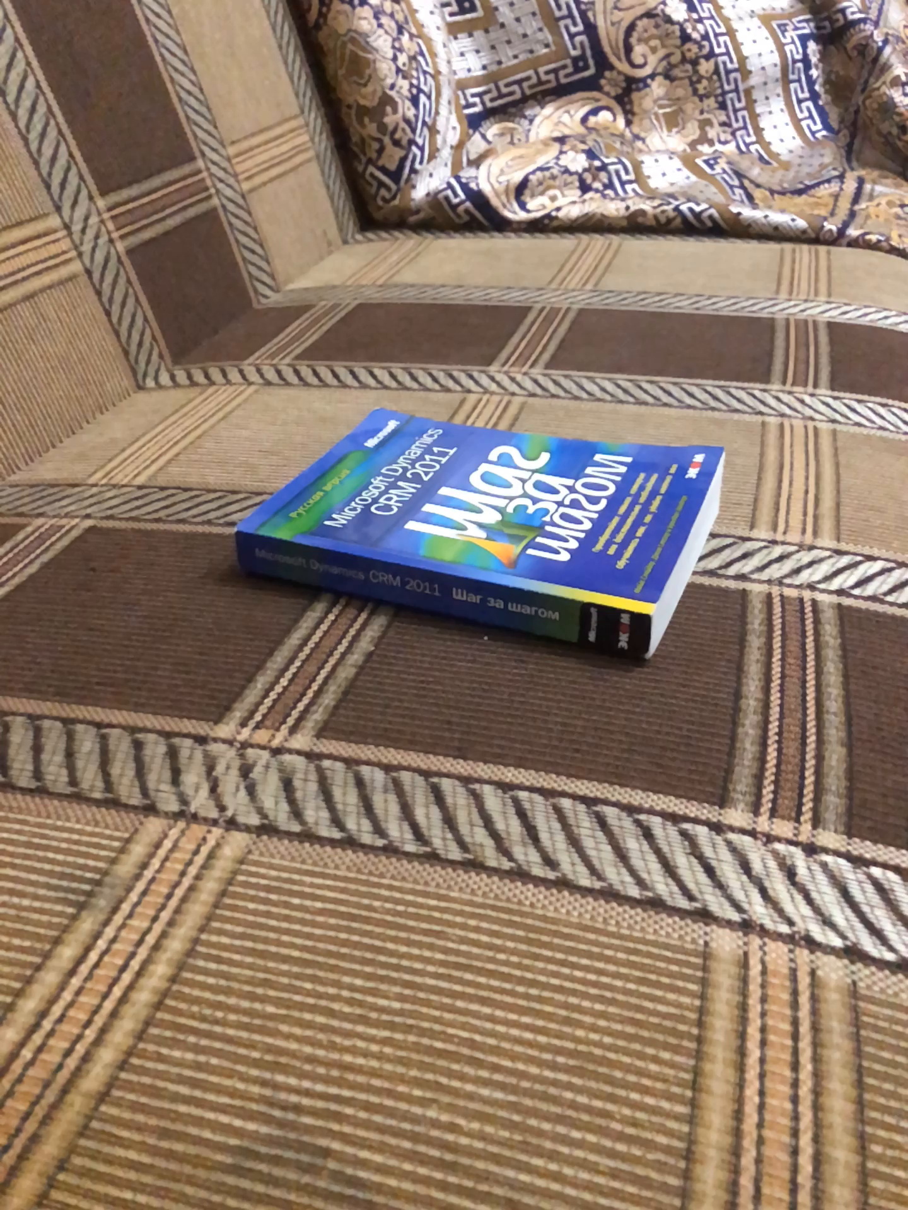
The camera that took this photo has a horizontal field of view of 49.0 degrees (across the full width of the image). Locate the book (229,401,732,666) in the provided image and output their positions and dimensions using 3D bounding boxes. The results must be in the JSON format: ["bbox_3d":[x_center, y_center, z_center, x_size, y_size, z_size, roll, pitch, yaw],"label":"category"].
[{"bbox_3d":[0.019,-0.046,0.486,0.200,0.030,0.151,12,35,19],"label":"book"}]
